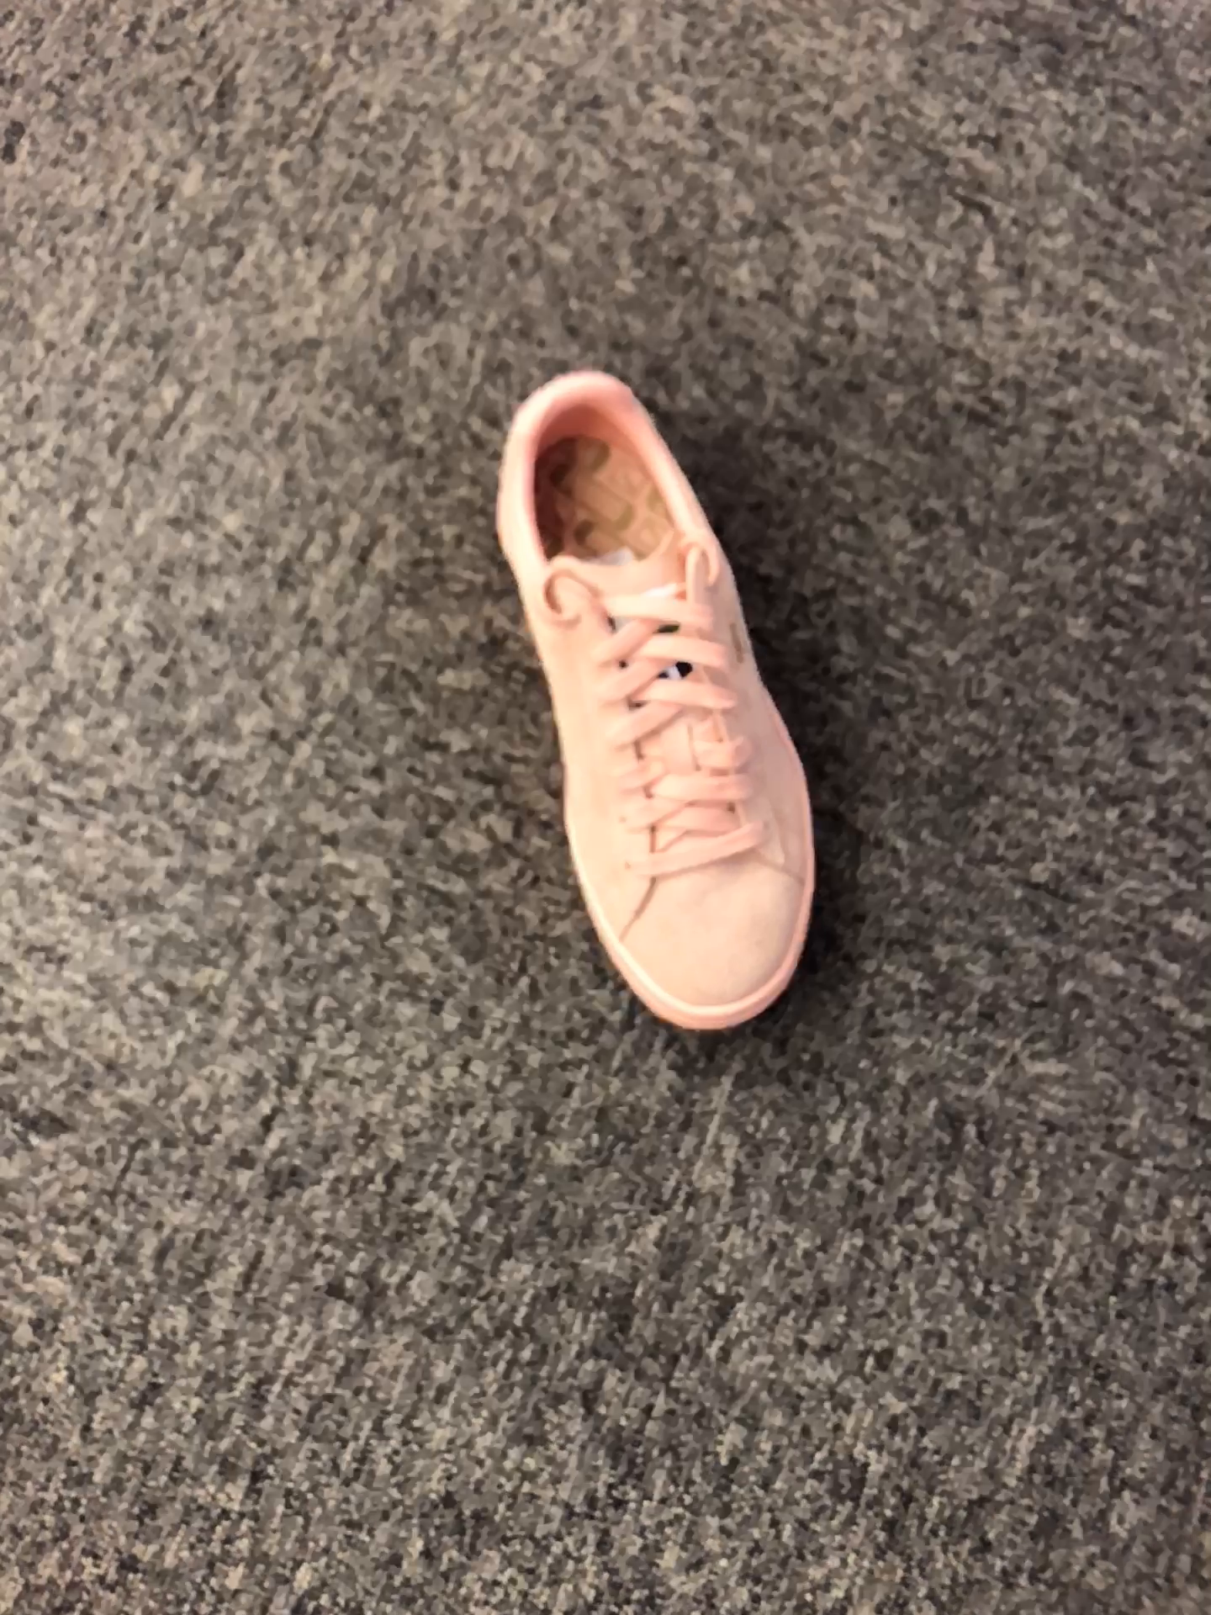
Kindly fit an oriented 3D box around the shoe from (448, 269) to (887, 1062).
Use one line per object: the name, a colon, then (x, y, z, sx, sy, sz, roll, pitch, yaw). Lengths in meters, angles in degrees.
shoe: (0.017, -0.047, 0.493, 0.092, 0.090, 0.253, -12, 86, -4)
